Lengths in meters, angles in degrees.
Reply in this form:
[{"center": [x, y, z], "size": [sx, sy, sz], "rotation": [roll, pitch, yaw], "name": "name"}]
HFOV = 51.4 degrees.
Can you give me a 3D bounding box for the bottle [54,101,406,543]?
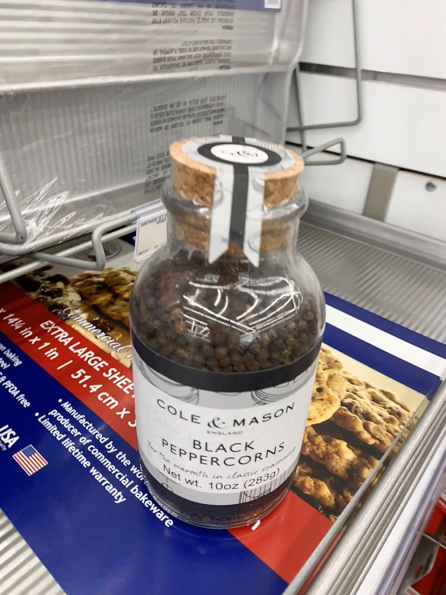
[{"center": [0.001, 0.012, 0.198], "size": [0.090, 0.159, 0.090], "rotation": [2, 32, -1], "name": "bottle"}]
